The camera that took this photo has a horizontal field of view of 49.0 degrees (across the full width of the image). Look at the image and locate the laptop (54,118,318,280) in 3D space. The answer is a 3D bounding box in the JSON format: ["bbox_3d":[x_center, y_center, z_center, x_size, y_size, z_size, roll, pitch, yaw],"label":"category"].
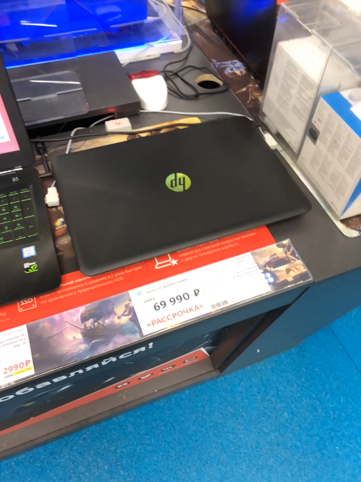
[{"bbox_3d":[0.002,-0.090,0.655,0.372,0.006,0.240,-16,57,-13],"label":"laptop"}]
